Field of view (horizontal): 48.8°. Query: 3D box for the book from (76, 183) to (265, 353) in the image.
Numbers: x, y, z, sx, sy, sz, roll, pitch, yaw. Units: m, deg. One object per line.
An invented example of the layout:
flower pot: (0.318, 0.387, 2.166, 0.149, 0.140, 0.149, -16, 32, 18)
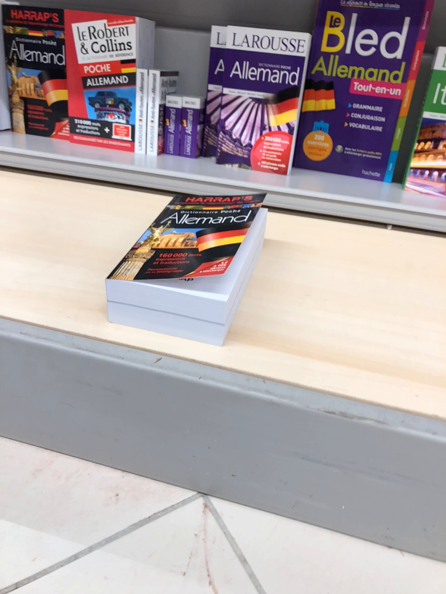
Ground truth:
book: (-0.038, -0.039, 0.472, 0.122, 0.060, 0.181, 11, 36, 10)
